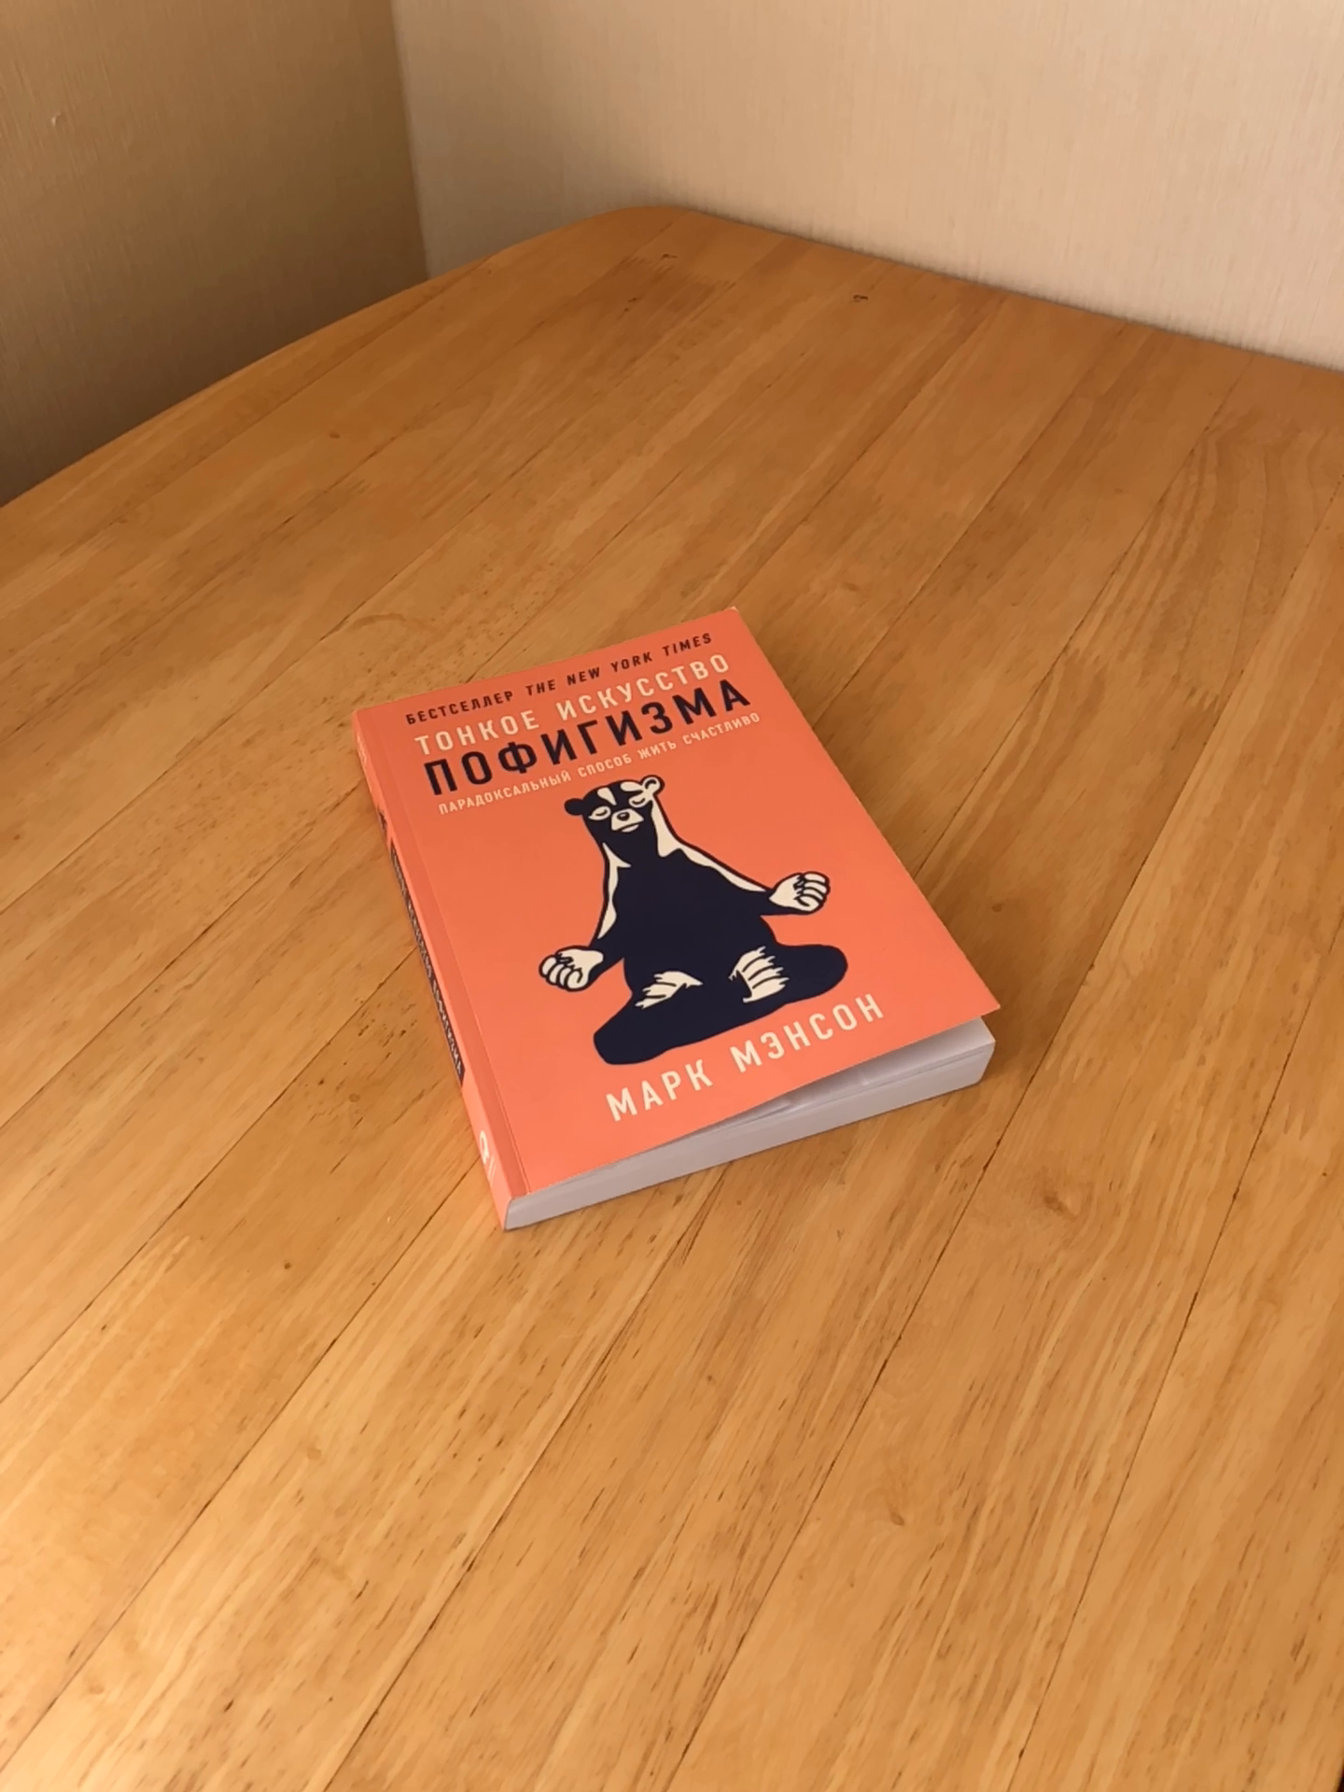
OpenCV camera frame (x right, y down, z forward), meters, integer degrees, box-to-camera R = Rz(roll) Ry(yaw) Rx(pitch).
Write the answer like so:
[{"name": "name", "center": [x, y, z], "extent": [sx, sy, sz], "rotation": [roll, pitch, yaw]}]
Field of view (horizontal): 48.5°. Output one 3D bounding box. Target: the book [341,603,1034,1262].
[{"name": "book", "center": [-0.006, -0.004, 0.451], "extent": [0.143, 0.033, 0.197], "rotation": [-16, 49, -13]}]
